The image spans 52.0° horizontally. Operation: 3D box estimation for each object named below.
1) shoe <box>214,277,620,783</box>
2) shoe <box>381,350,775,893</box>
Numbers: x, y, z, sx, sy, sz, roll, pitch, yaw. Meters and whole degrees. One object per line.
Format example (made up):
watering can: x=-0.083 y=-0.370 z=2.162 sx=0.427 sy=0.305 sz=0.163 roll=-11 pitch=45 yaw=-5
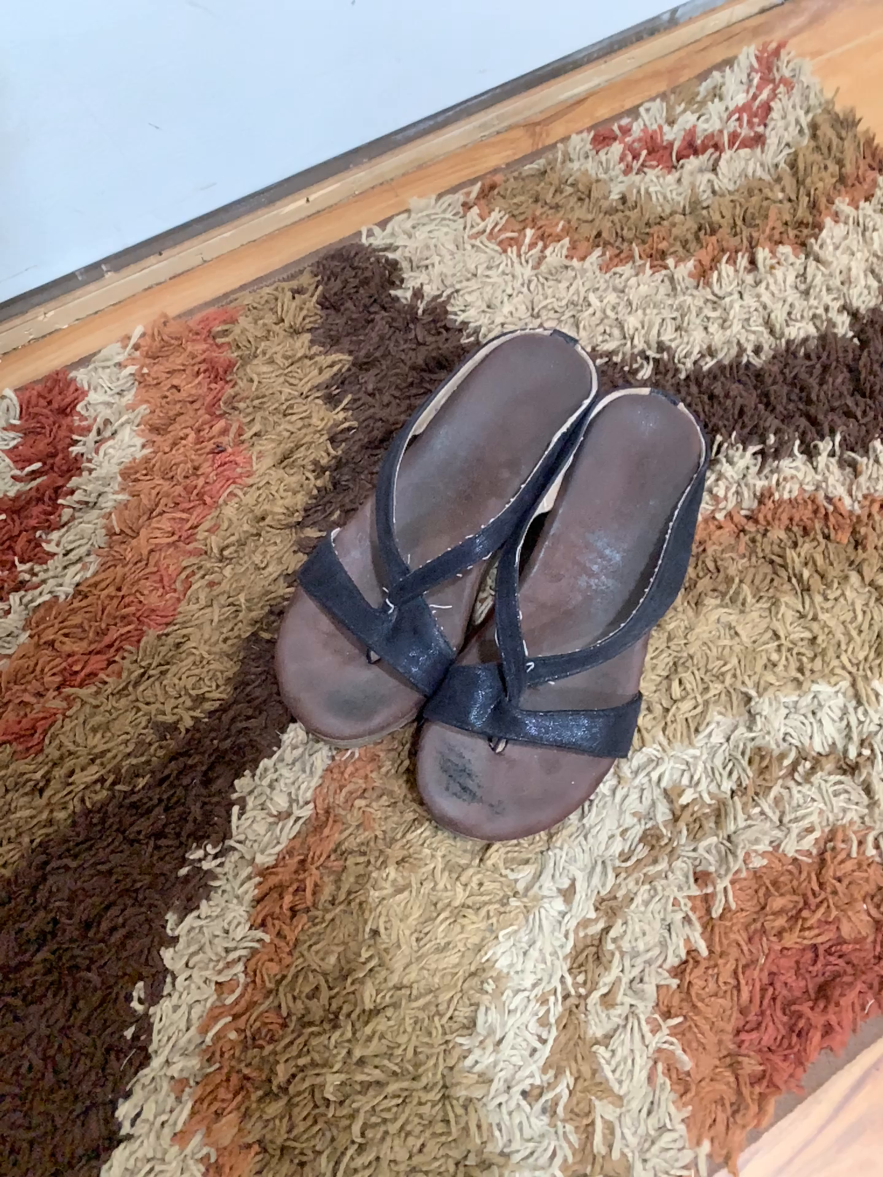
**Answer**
shoe: x=-0.003 y=-0.034 z=0.420 sx=0.084 sy=0.052 sz=0.224 roll=25 pitch=68 yaw=10
shoe: x=0.065 y=0.009 z=0.410 sx=0.090 sy=0.062 sz=0.223 roll=24 pitch=68 yaw=9
